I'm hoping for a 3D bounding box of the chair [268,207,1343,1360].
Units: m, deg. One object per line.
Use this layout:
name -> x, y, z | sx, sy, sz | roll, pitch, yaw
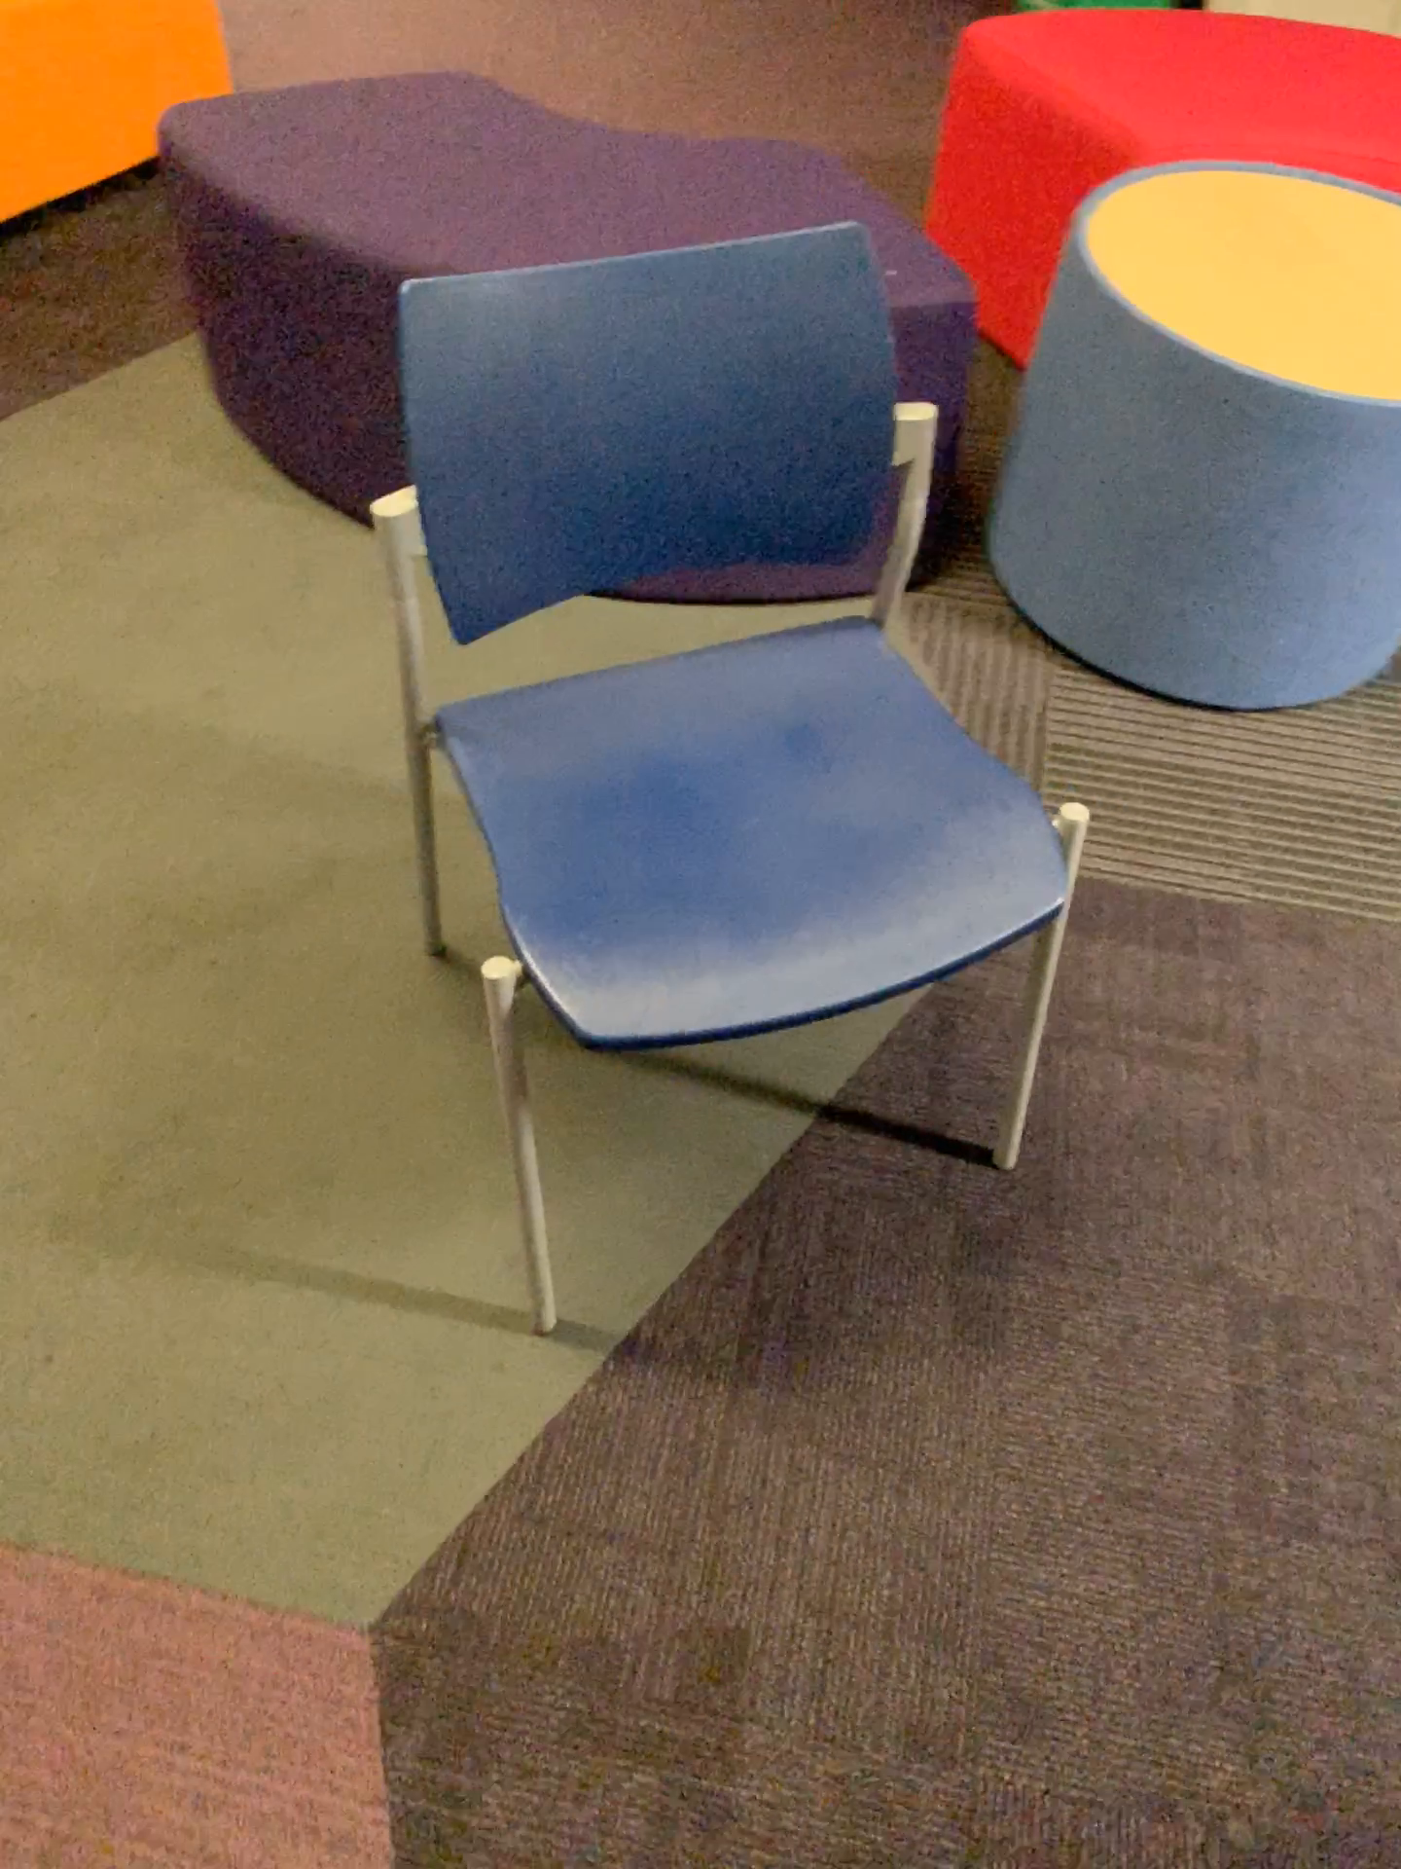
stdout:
chair -> 0.022, -0.123, 1.254 | 0.561, 0.694, 0.574 | -15, 52, -15
